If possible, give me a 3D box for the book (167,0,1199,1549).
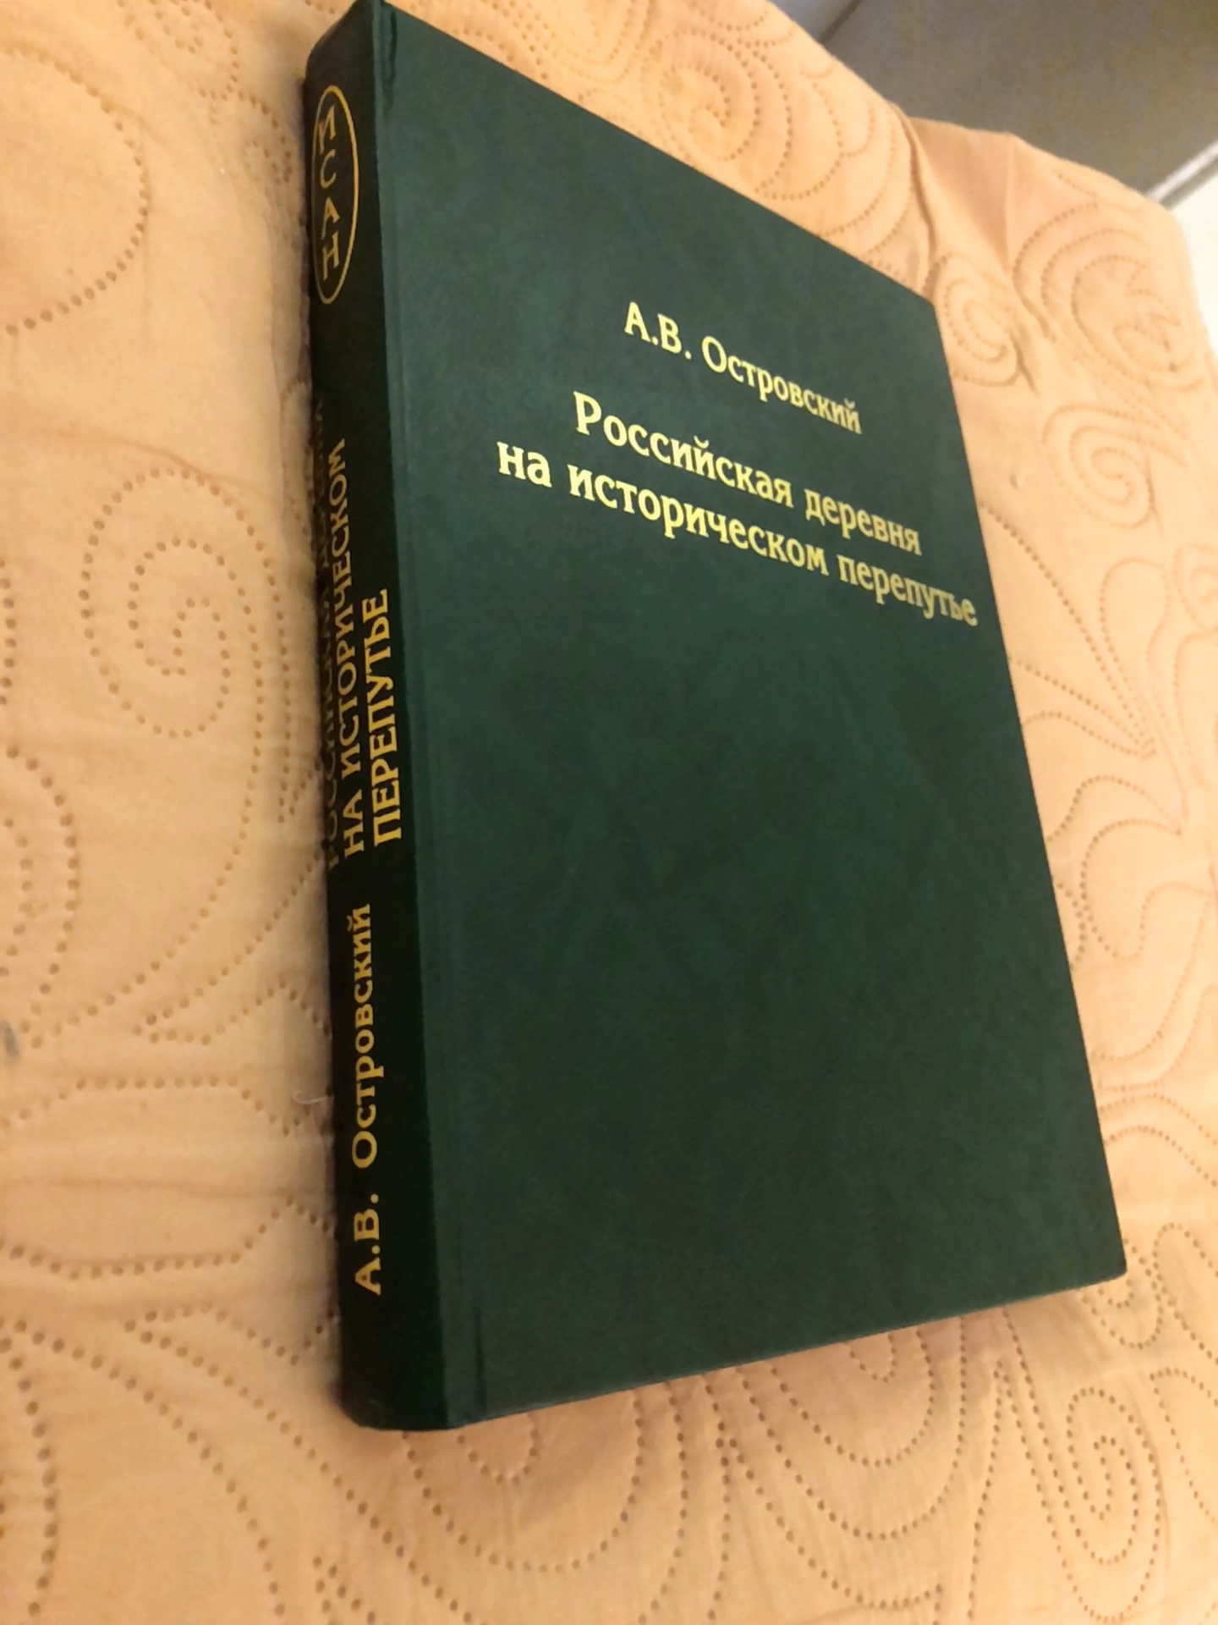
[{"bbox_3d":[0.016,-0.022,0.248,0.181,0.040,0.240,7,69,-39],"label":"book"}]
